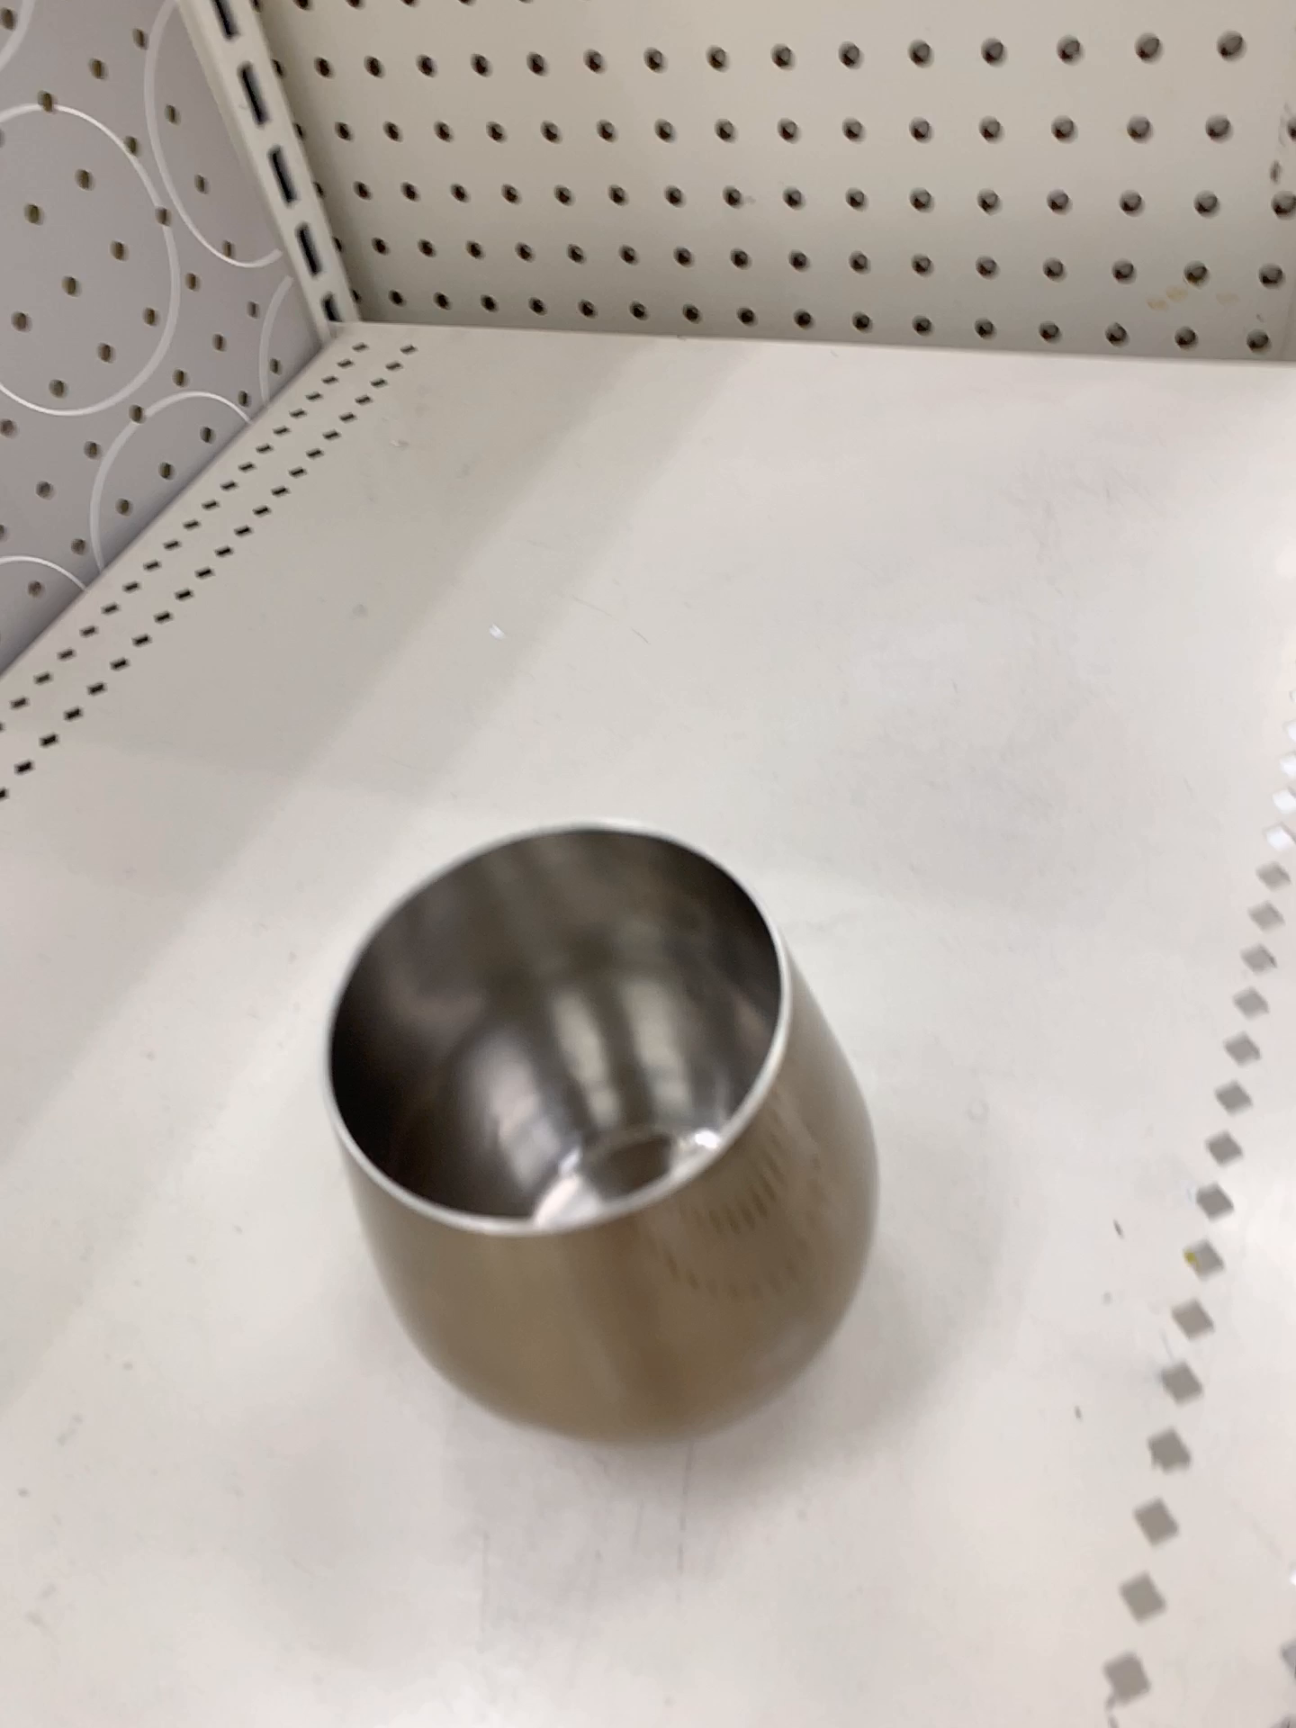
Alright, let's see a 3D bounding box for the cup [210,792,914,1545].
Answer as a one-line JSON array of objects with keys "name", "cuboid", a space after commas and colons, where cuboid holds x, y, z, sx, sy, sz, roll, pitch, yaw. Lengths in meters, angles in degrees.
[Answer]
[{"name": "cup", "cuboid": [-0.004, 0.053, 0.237, 0.083, 0.090, 0.082, -6, 50, 7]}]
